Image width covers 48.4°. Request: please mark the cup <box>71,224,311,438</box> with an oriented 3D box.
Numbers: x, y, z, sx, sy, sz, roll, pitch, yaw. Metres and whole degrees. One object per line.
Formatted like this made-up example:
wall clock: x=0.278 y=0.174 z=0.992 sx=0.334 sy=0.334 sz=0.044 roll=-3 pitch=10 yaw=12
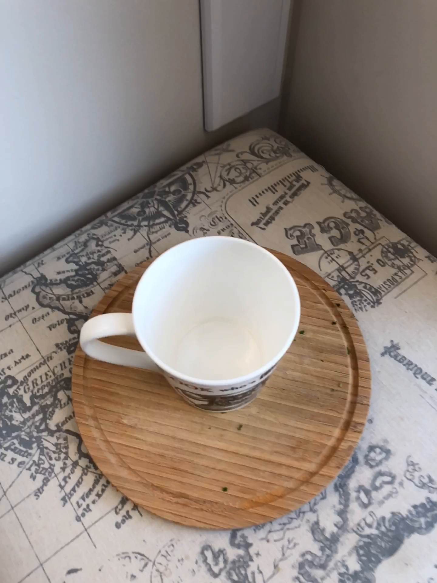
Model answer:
cup: x=-0.011 y=0.026 z=0.284 sx=0.111 sy=0.086 sz=0.091 roll=2 pitch=59 yaw=1
